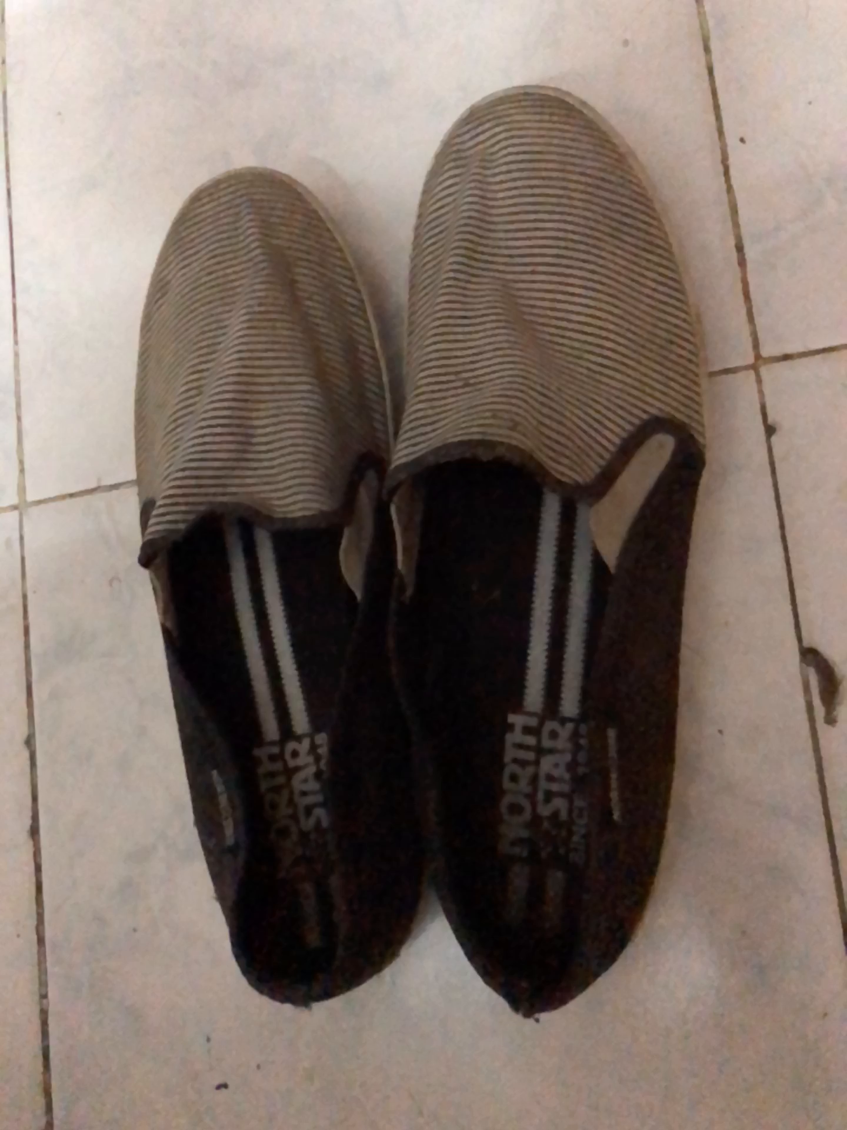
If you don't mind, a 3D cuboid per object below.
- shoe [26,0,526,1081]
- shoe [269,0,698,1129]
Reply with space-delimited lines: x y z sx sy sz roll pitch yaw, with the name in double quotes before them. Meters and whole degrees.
"shoe" -0.052 -0.013 0.334 0.110 0.090 0.330 -11 80 16
"shoe" 0.024 -0.020 0.304 0.110 0.090 0.340 -2 83 17
